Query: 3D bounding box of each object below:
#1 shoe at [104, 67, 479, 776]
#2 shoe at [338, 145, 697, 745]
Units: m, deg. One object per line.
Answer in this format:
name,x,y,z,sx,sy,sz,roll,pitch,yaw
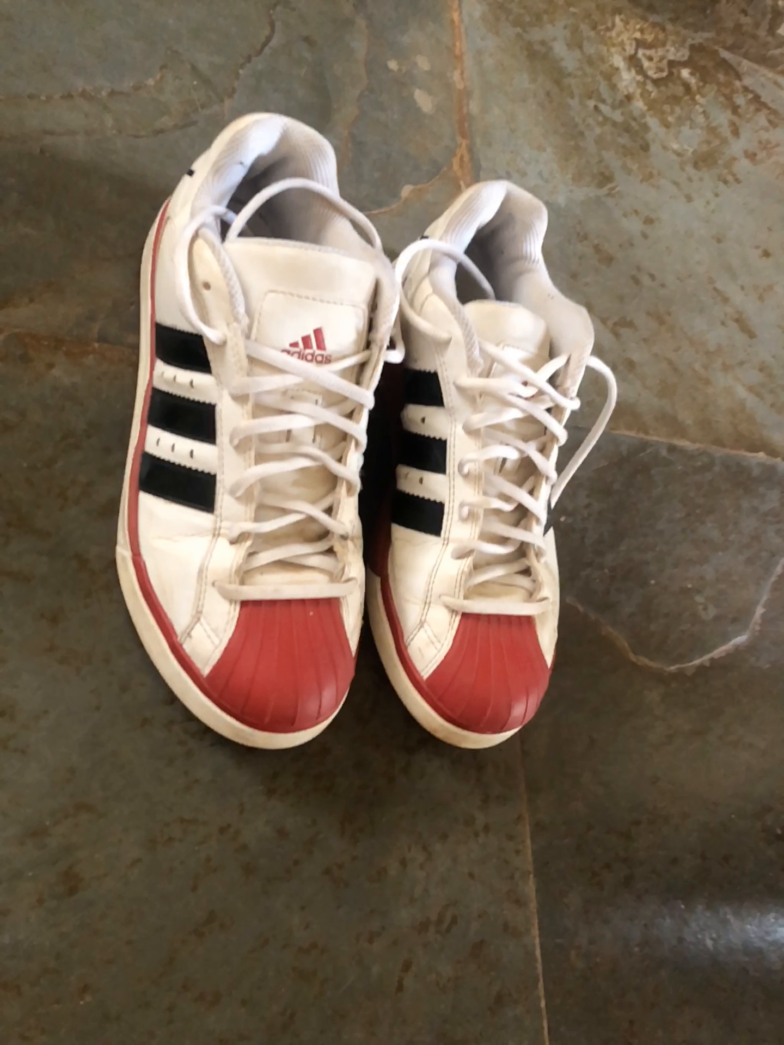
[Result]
shoe,-0.060,-0.035,0.390,0.110,0.129,0.271,2,71,-27
shoe,0.051,-0.032,0.442,0.110,0.109,0.271,5,70,-26
